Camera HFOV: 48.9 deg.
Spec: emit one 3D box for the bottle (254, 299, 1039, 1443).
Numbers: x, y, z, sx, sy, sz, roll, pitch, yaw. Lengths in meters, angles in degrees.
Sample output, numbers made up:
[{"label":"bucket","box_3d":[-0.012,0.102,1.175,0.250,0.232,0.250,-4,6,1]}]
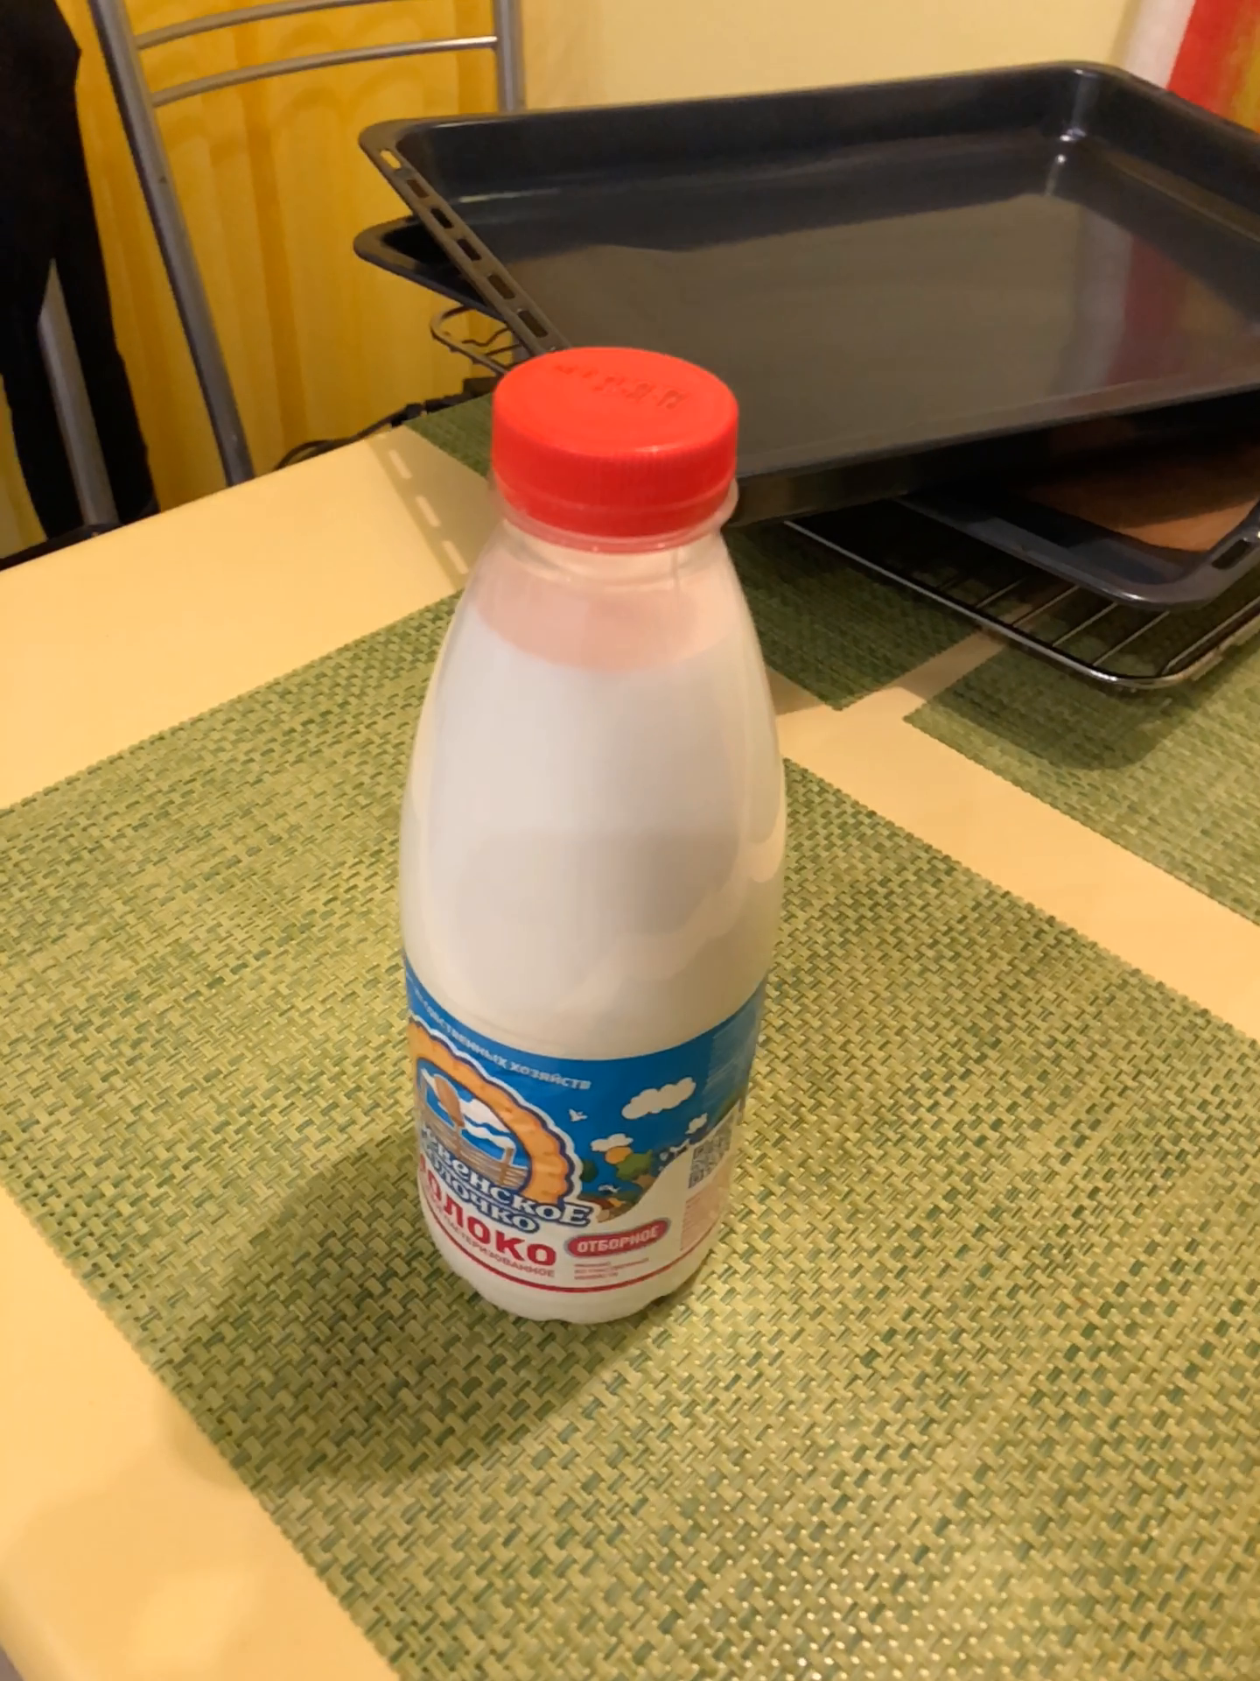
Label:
[{"label":"bottle","box_3d":[-0.002,0.018,0.298,0.090,0.218,0.090,2,43,-2]}]
